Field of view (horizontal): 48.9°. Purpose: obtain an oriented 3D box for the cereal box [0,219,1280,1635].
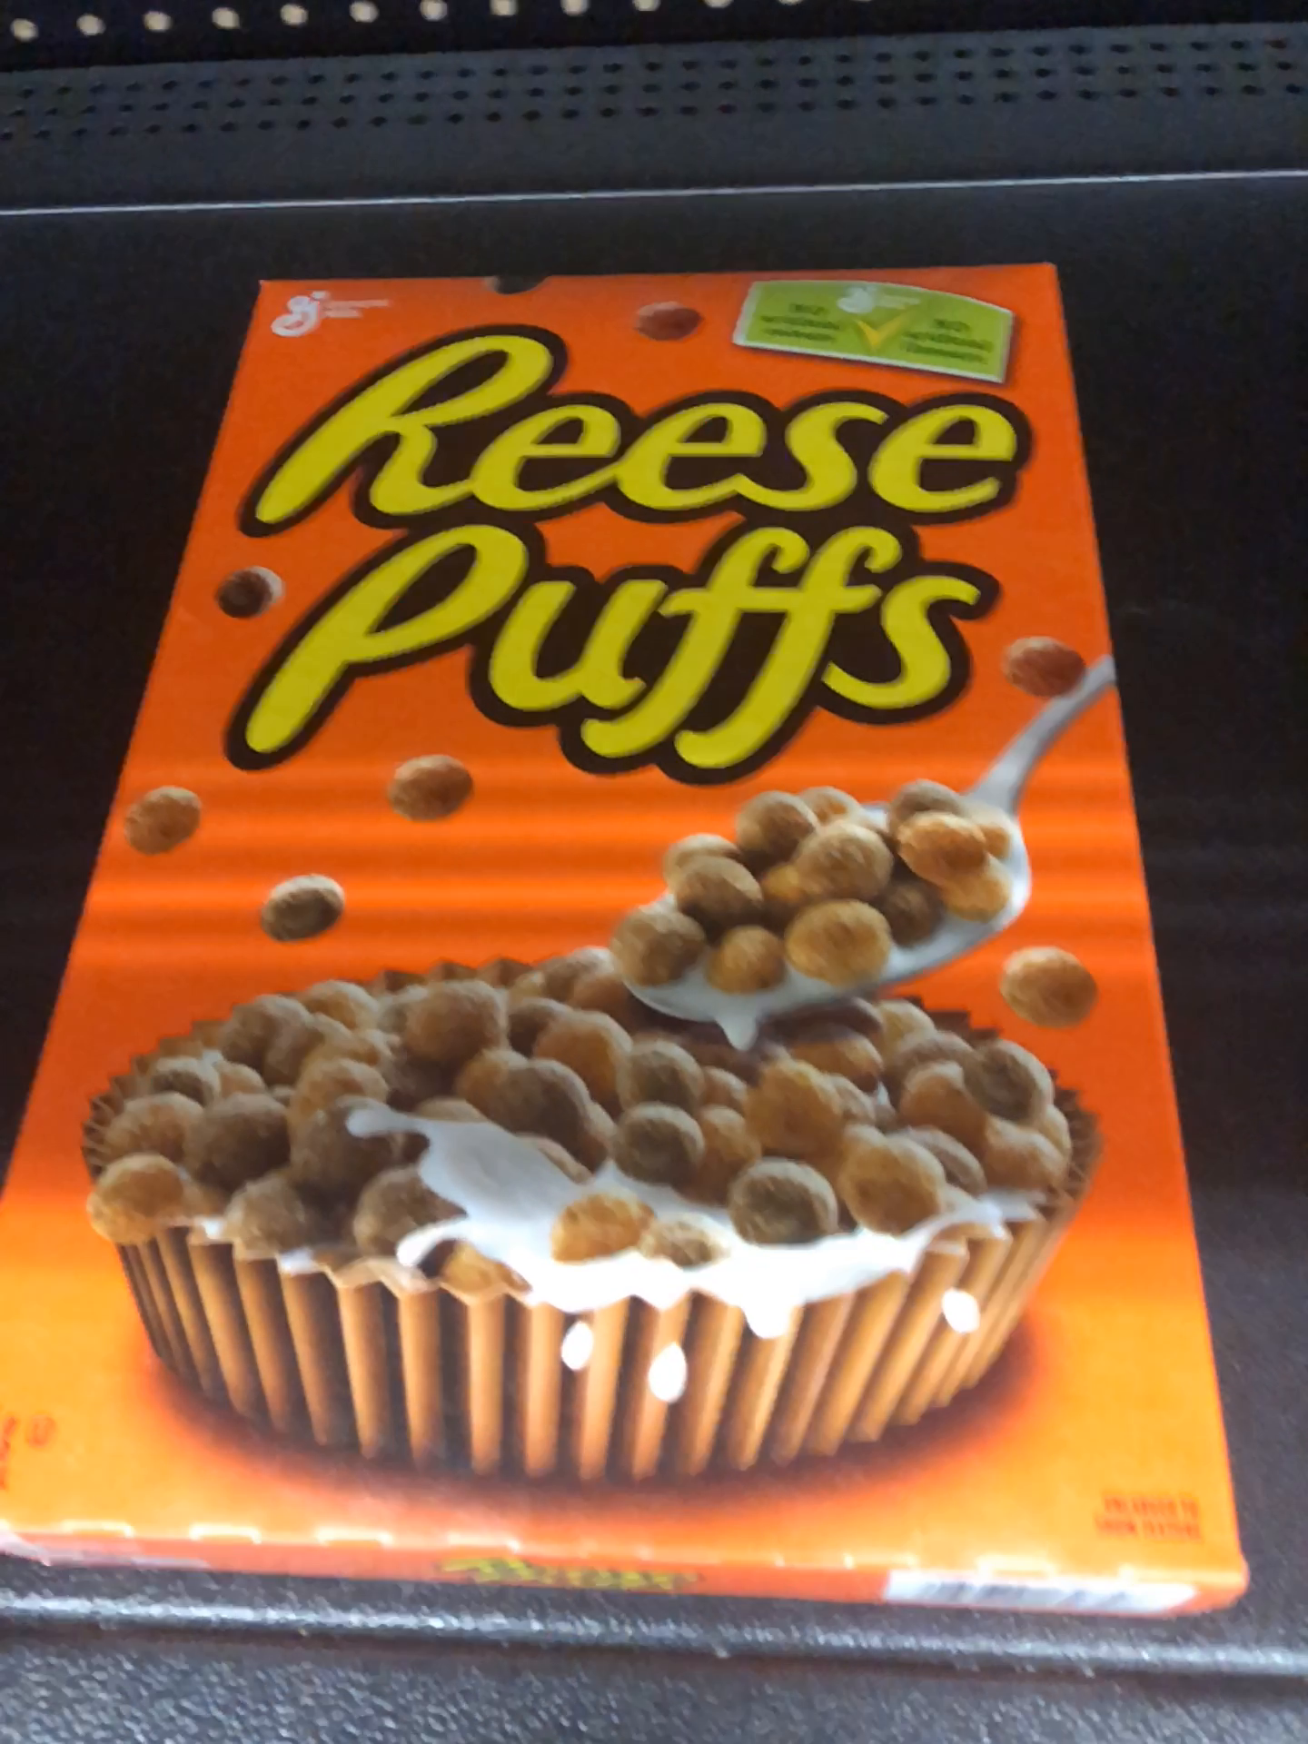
[{"bbox_3d":[-0.009,-0.016,0.292,0.200,0.050,0.291,0,59,5],"label":"cereal box"}]
